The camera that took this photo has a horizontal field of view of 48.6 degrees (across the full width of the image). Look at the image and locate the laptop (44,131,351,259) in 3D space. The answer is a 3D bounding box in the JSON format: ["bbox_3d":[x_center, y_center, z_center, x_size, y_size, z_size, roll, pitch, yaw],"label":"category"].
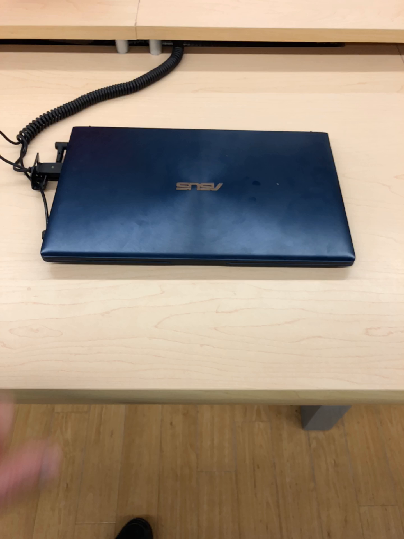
[{"bbox_3d":[-0.002,-0.087,0.480,0.295,0.001,0.178,1,57,0],"label":"laptop"}]
